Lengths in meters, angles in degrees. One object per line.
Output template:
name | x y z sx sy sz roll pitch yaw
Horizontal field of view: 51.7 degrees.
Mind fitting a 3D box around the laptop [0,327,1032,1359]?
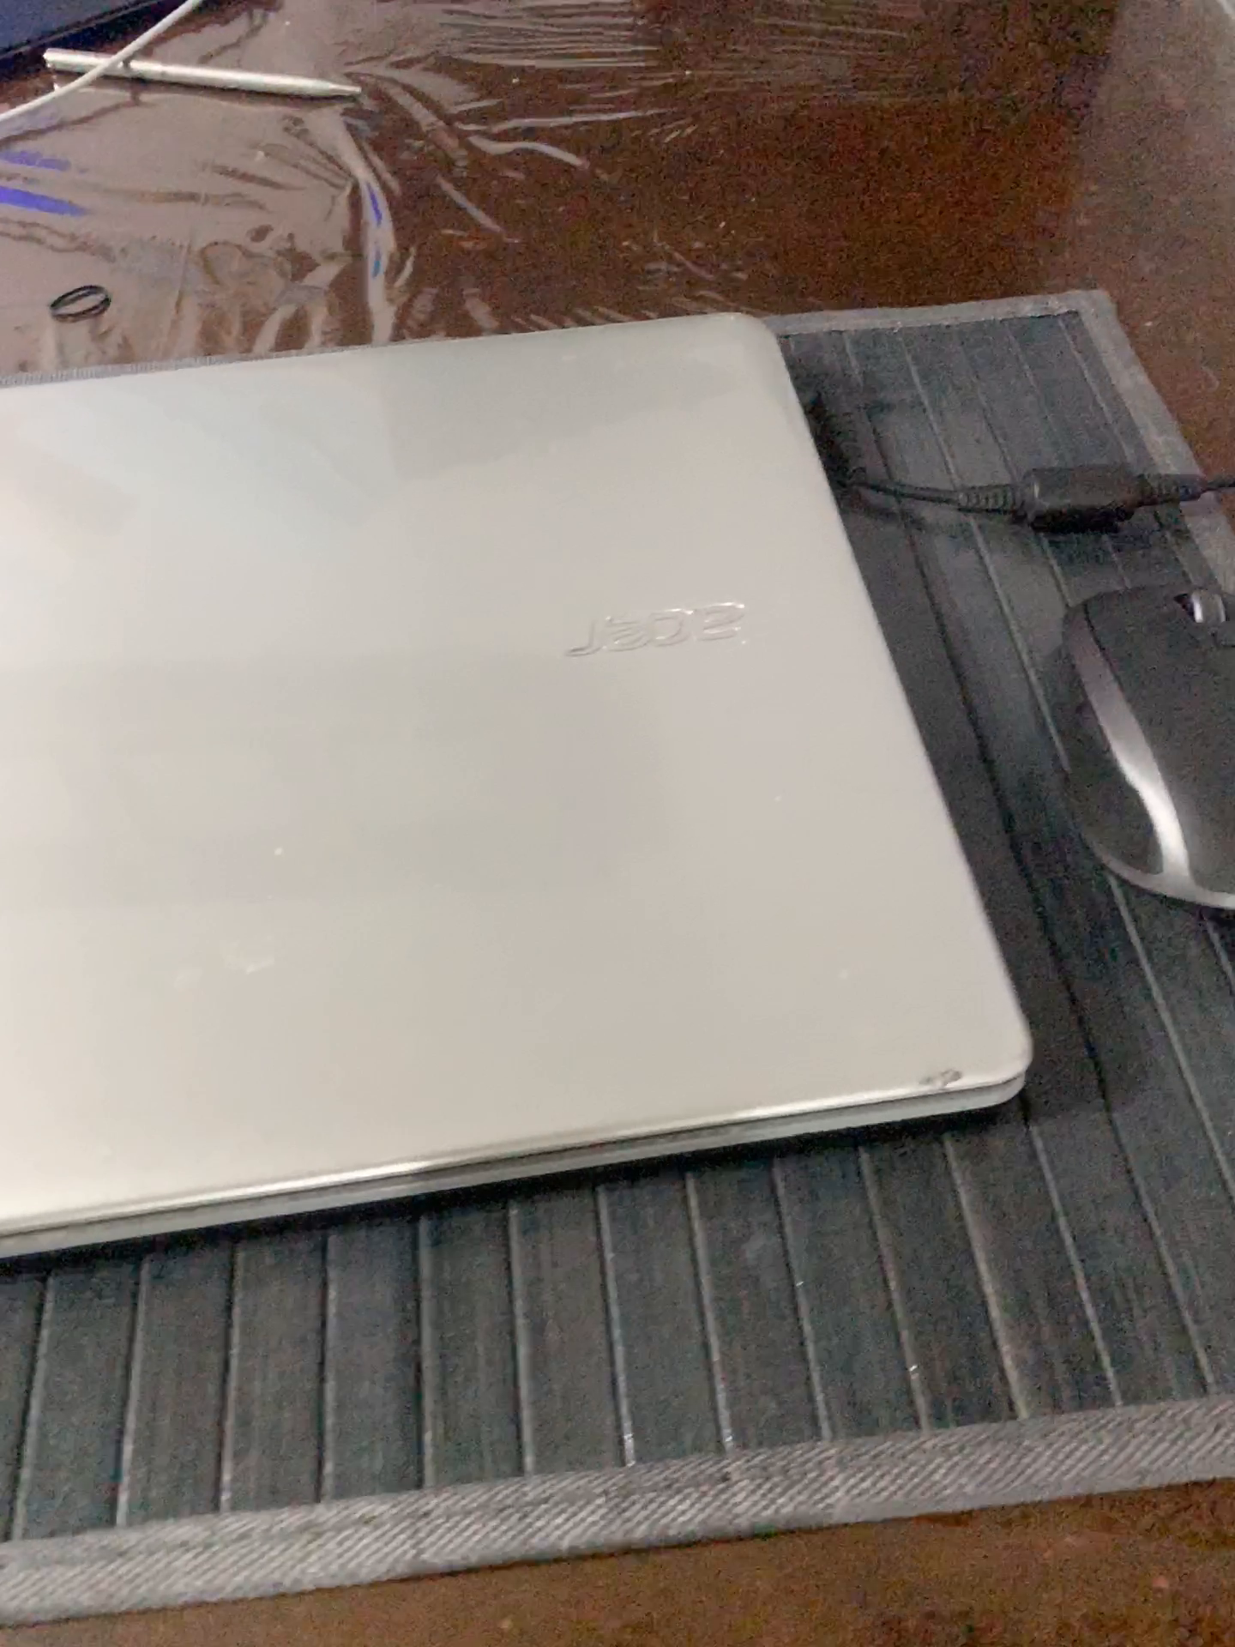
laptop | -0.107 -0.027 0.280 0.335 0.002 0.224 -7 56 -6
